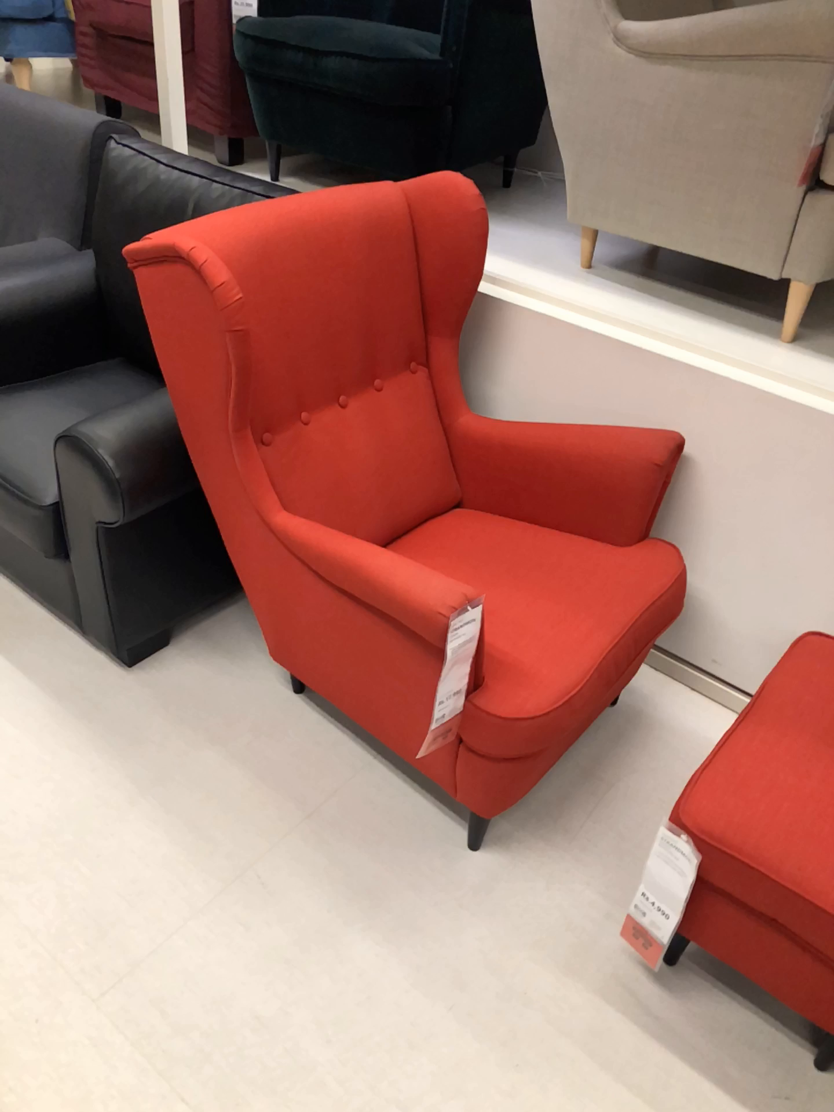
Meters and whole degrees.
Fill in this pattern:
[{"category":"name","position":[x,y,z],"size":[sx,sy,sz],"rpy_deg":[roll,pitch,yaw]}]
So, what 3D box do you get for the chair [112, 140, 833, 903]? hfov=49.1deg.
[{"category":"chair","position":[0.096,-0.159,1.793],"size":[0.842,0.973,0.904],"rpy_deg":[28,41,28]}]
